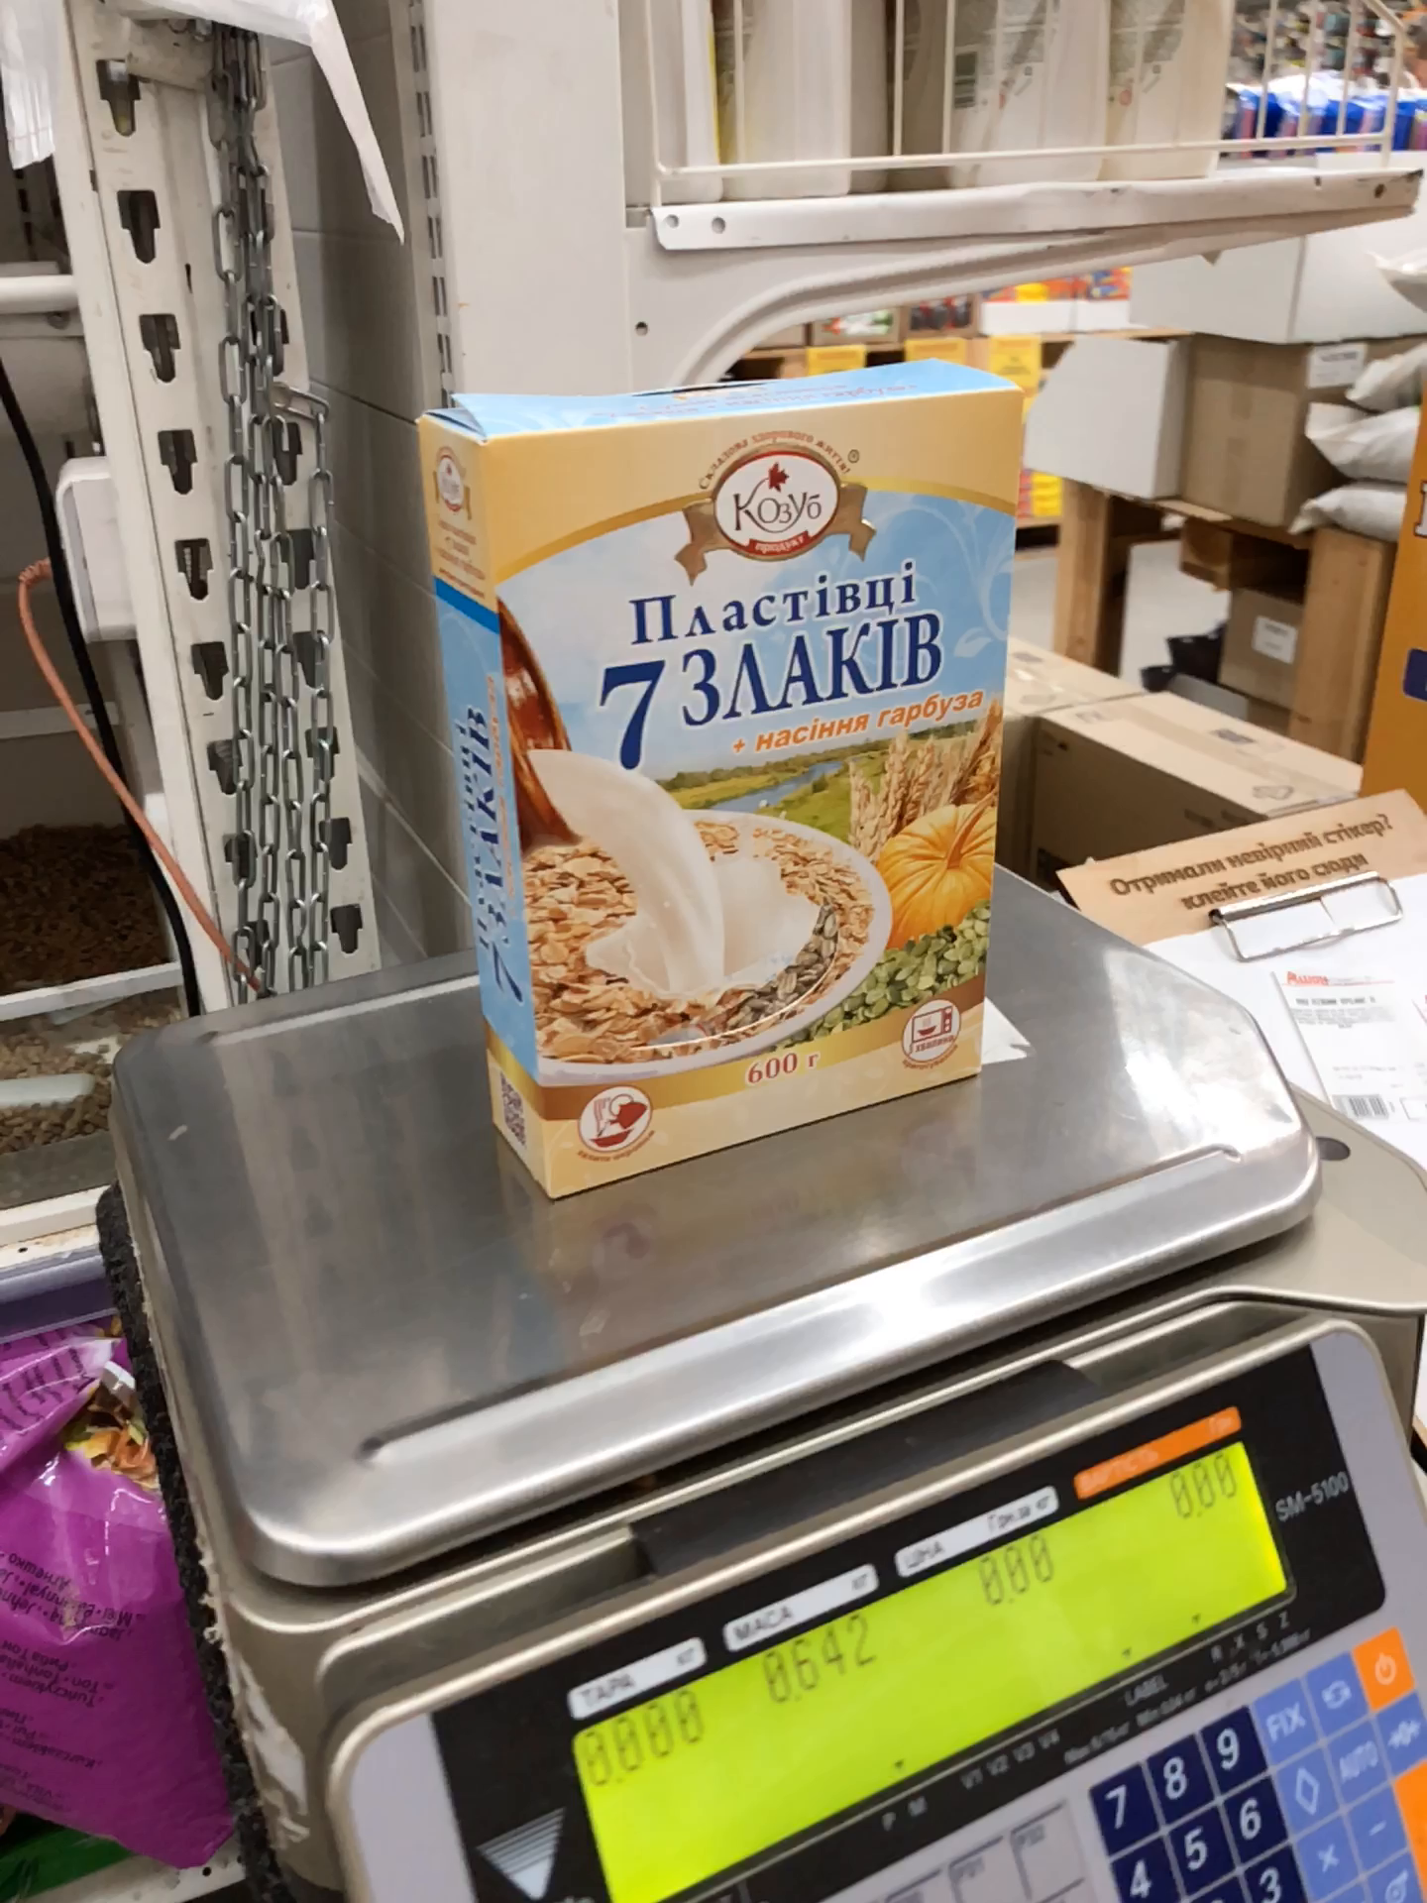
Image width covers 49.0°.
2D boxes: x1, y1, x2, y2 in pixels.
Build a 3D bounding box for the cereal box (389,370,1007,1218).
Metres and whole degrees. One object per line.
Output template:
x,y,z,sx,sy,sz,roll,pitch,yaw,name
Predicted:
-0.002,-0.050,0.482,0.160,0.228,0.060,-13,28,-23,cereal box
